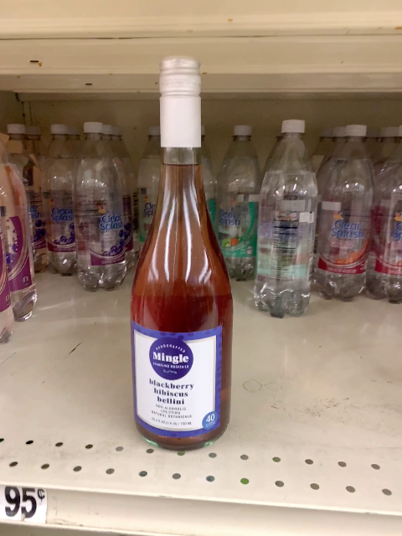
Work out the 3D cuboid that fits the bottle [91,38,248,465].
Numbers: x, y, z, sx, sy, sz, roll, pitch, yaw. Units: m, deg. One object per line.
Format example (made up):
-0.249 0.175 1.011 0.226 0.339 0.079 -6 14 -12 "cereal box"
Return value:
-0.017 -0.003 0.326 0.090 0.299 0.080 3 17 10 "bottle"
